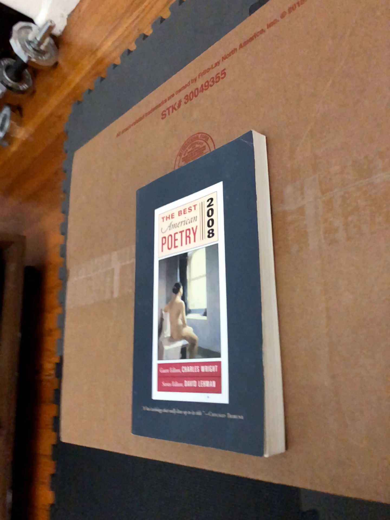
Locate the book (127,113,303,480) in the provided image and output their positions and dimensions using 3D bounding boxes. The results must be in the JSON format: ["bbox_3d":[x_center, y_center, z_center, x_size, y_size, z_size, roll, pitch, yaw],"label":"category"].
[{"bbox_3d":[0.002,0.027,0.326,0.150,0.020,0.230,-18,67,45],"label":"book"}]
